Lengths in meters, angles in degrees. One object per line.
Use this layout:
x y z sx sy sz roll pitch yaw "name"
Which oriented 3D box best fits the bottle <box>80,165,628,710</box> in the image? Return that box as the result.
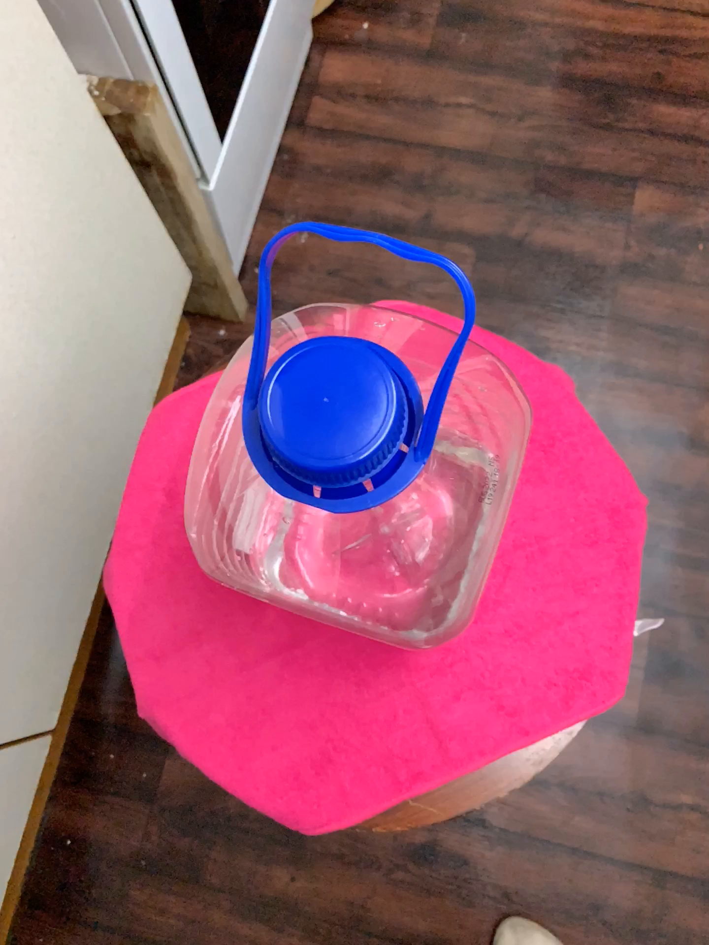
0.012 0.016 0.399 0.140 0.329 0.150 -1 77 3 "bottle"
